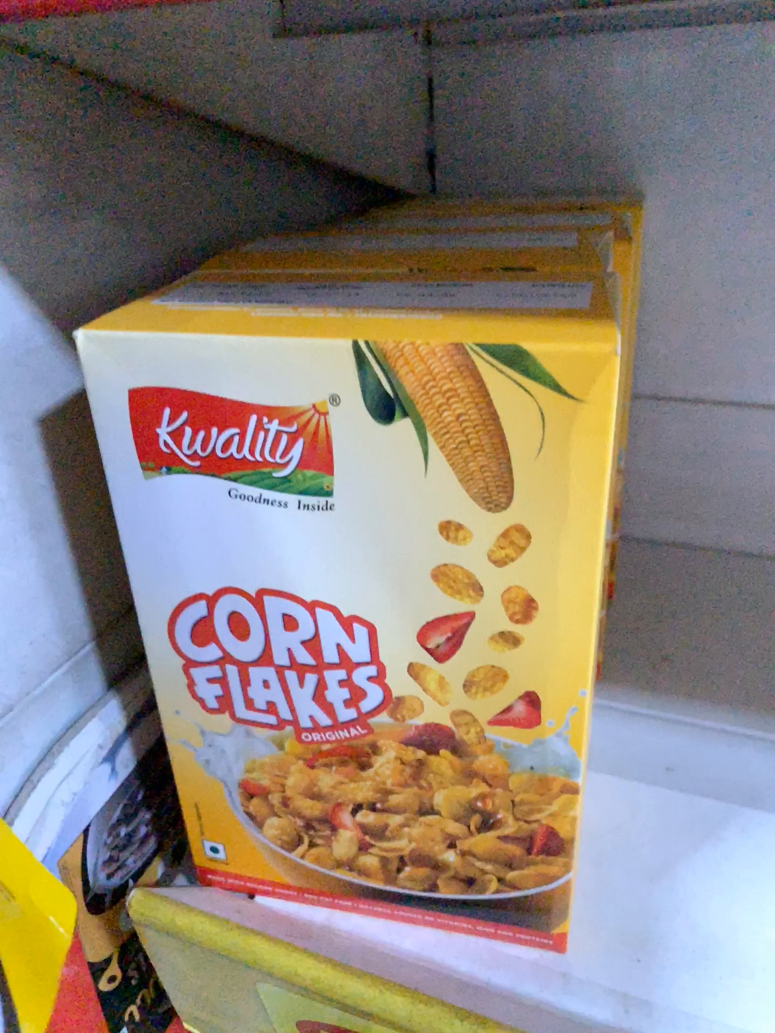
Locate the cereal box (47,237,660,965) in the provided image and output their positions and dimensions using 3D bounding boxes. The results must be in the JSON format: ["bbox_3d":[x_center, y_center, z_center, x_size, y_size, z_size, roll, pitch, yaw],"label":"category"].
[{"bbox_3d":[0.000,0.024,0.219,0.120,0.179,0.060,4,27,13],"label":"cereal box"}]
